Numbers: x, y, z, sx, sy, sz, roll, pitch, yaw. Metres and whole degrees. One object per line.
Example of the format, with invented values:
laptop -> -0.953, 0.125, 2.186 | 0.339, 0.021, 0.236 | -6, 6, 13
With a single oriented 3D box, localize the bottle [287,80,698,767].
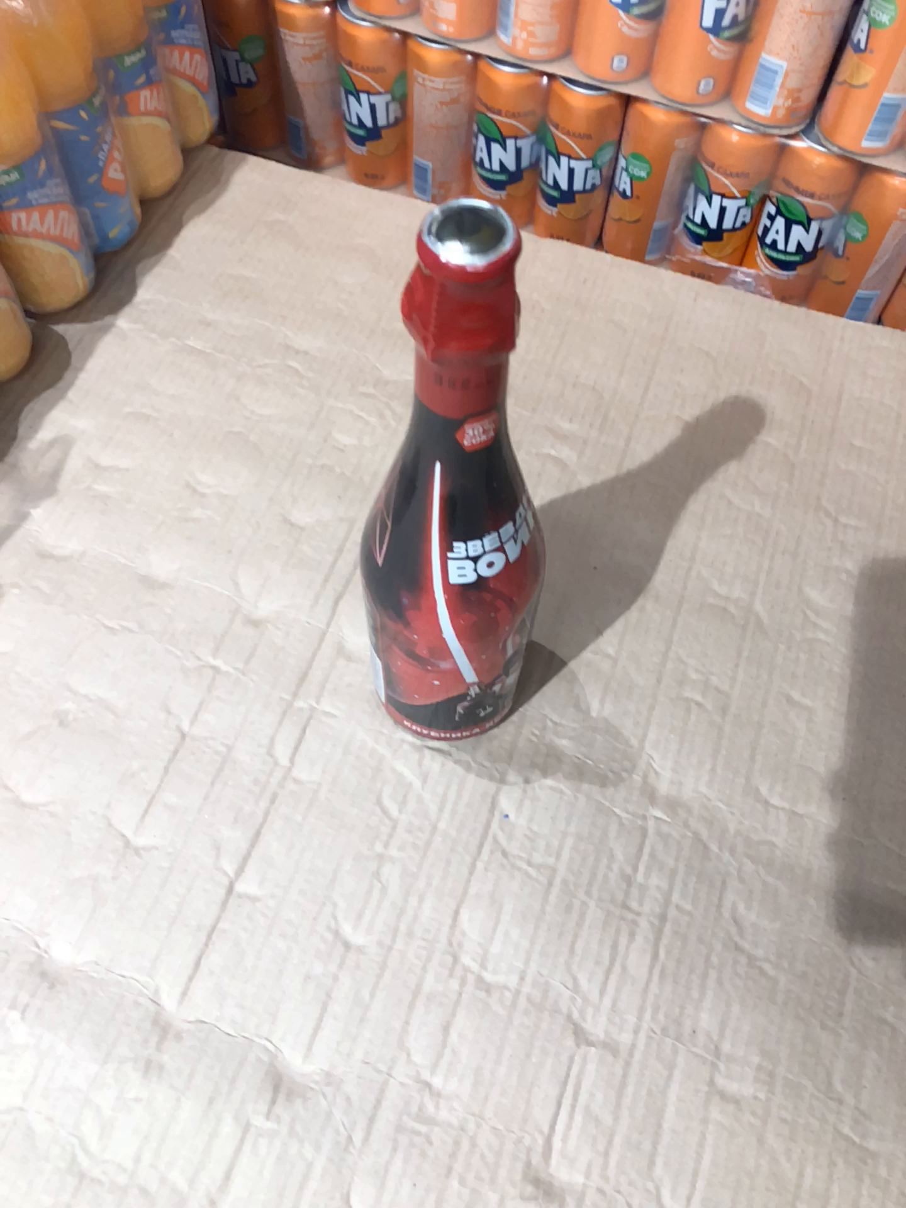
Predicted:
bottle -> 0.007, -0.036, 0.384 | 0.085, 0.279, 0.086 | 1, 62, -2
